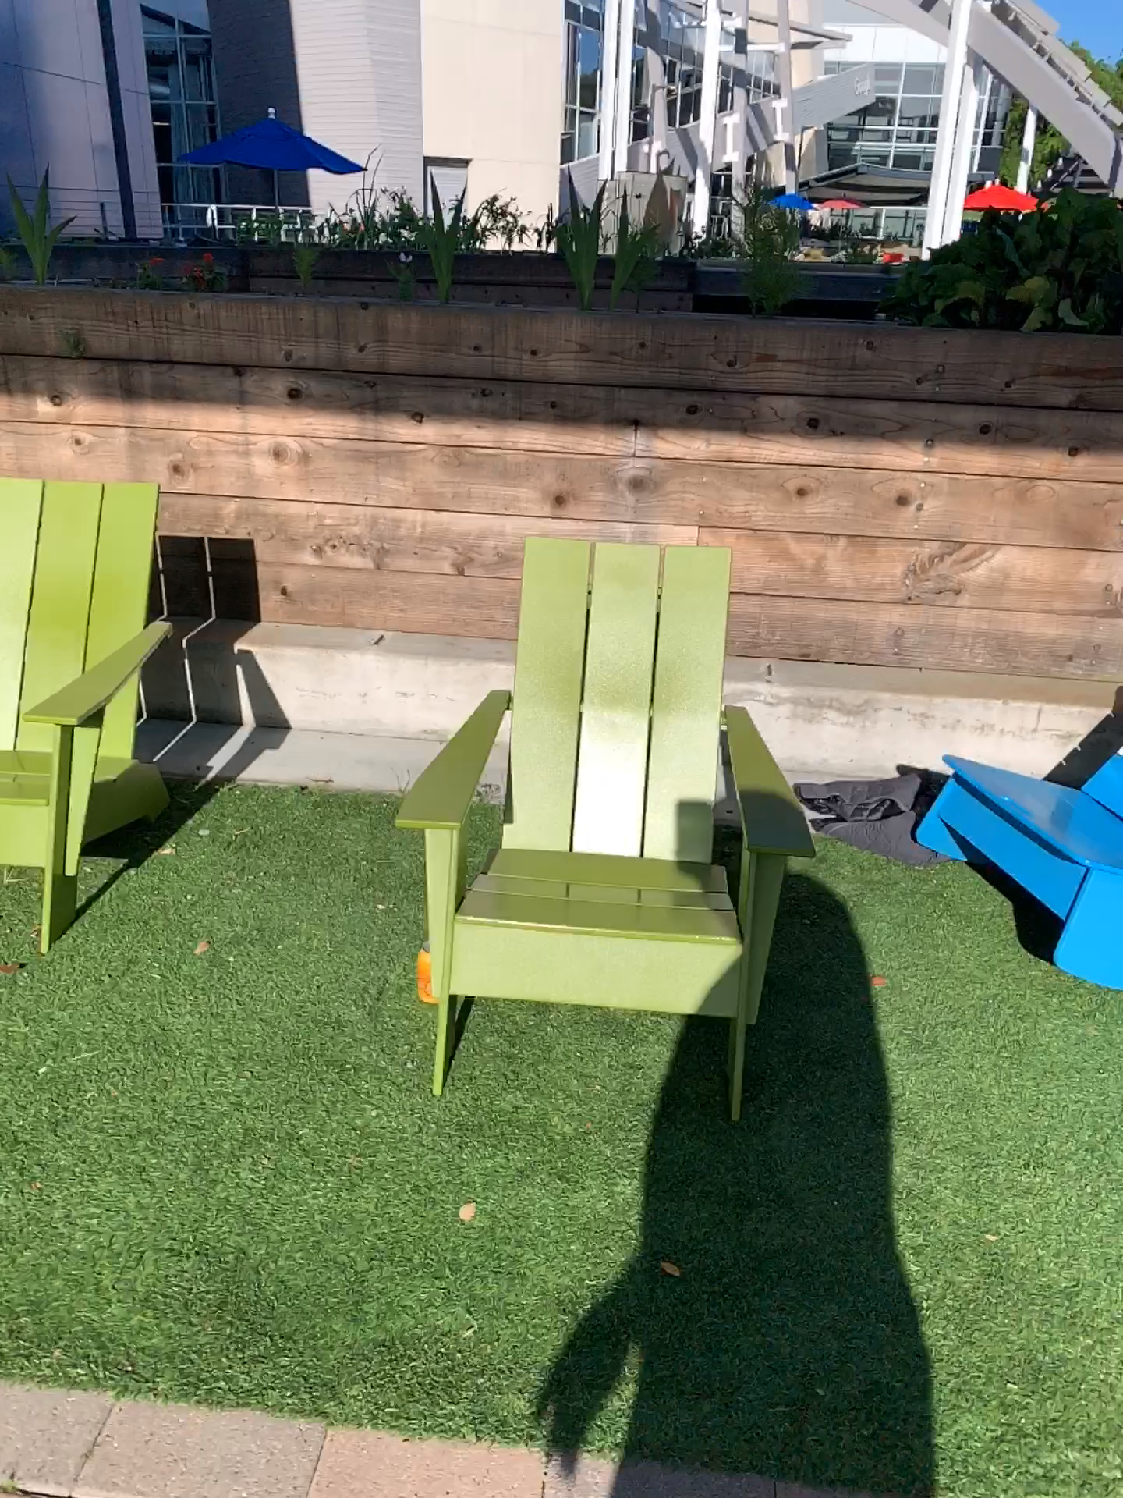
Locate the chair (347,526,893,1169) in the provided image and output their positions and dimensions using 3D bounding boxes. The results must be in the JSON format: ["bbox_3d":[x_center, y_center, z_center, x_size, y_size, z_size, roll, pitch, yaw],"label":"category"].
[{"bbox_3d":[0.127,0.119,2.416,0.850,0.895,1.005,5,25,6],"label":"chair"}]
